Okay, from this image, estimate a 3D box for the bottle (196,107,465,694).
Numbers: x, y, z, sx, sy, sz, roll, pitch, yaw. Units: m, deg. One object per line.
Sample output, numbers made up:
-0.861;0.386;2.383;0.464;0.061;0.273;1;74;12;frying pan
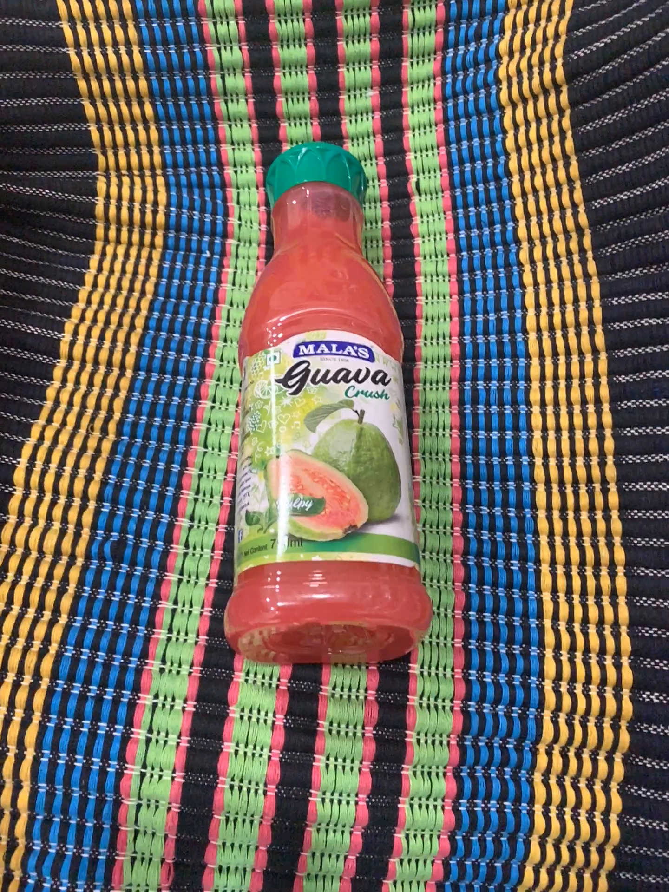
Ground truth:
-0.011;-0.036;0.308;0.080;0.080;0.261;0;57;-5;bottle
